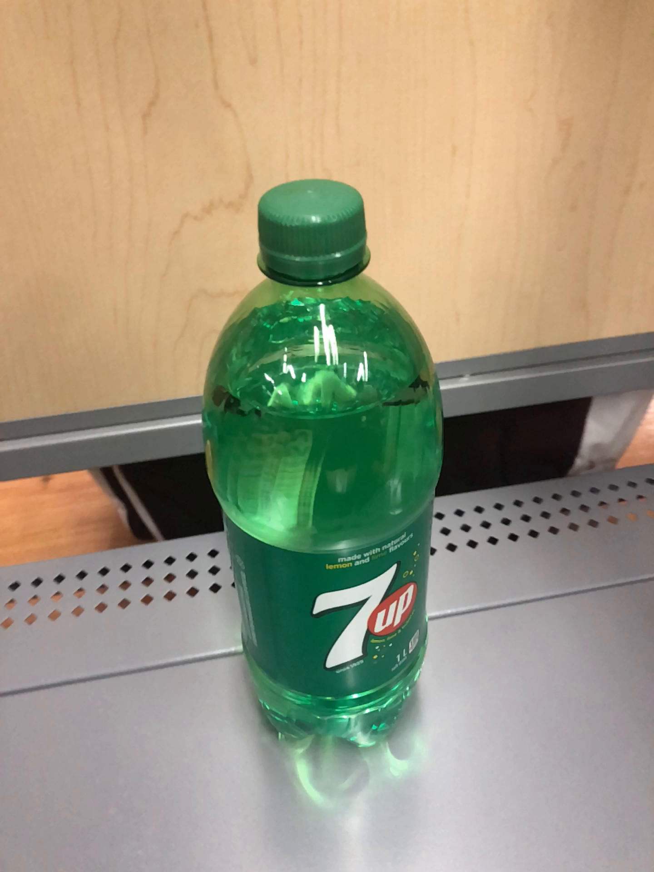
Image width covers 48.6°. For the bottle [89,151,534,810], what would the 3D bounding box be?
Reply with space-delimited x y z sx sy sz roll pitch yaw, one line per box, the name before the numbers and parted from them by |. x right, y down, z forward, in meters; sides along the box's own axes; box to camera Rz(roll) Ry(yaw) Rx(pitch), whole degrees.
bottle | -0.004 0.033 0.277 0.100 0.238 0.081 -17 43 -16
